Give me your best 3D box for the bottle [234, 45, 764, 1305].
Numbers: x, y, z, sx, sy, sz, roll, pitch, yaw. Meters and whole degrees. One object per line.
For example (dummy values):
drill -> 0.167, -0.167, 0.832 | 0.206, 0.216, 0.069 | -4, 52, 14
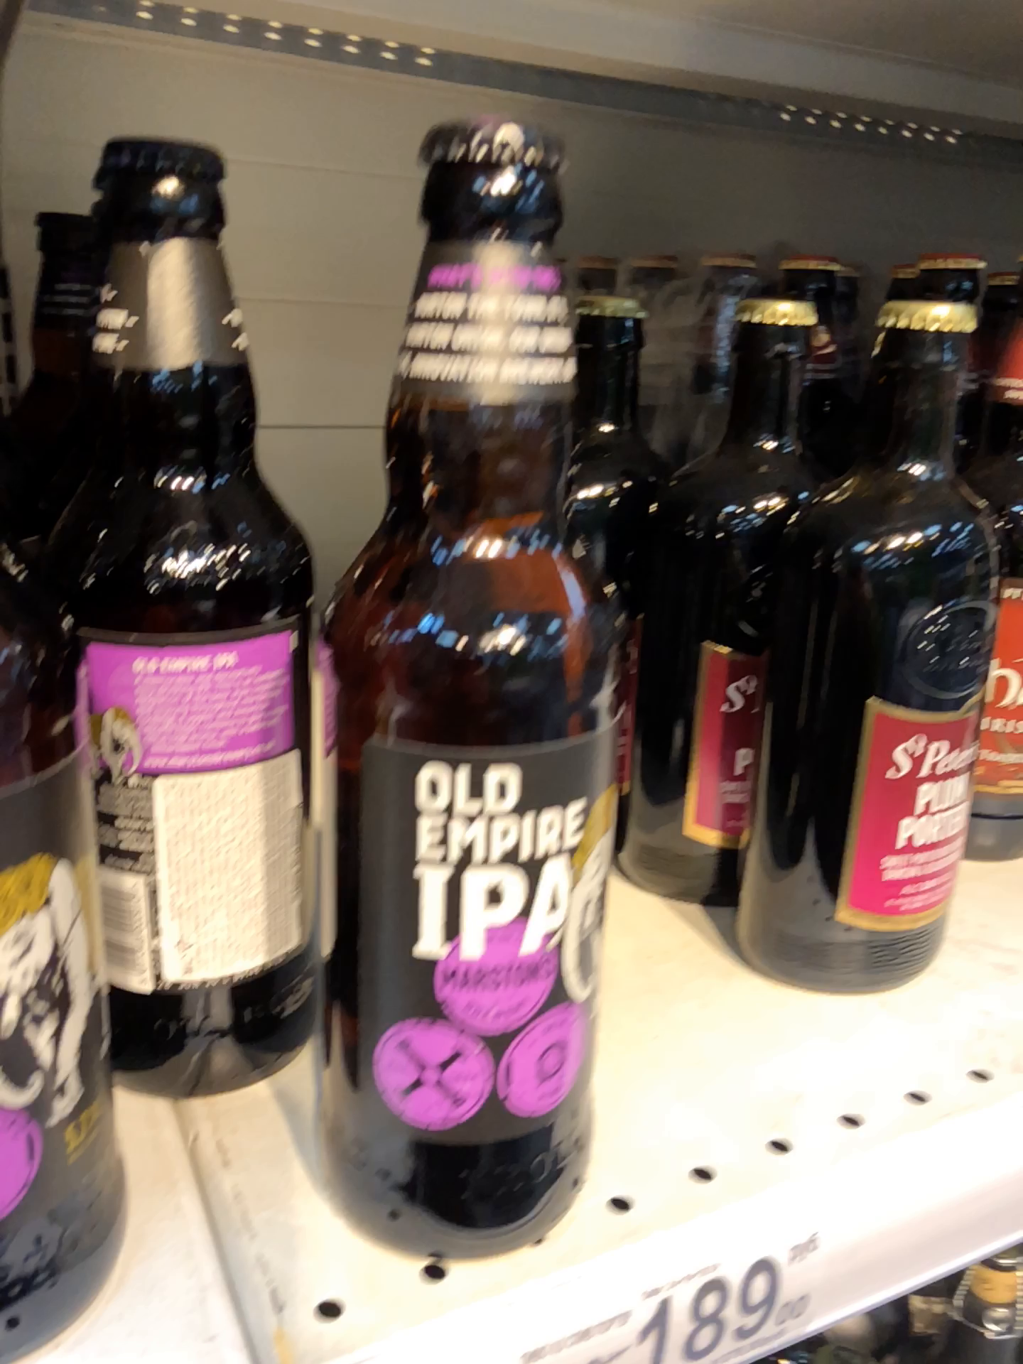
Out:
bottle -> -0.012, 0.003, 0.256 | 0.080, 0.239, 0.080 | 2, 17, -1
